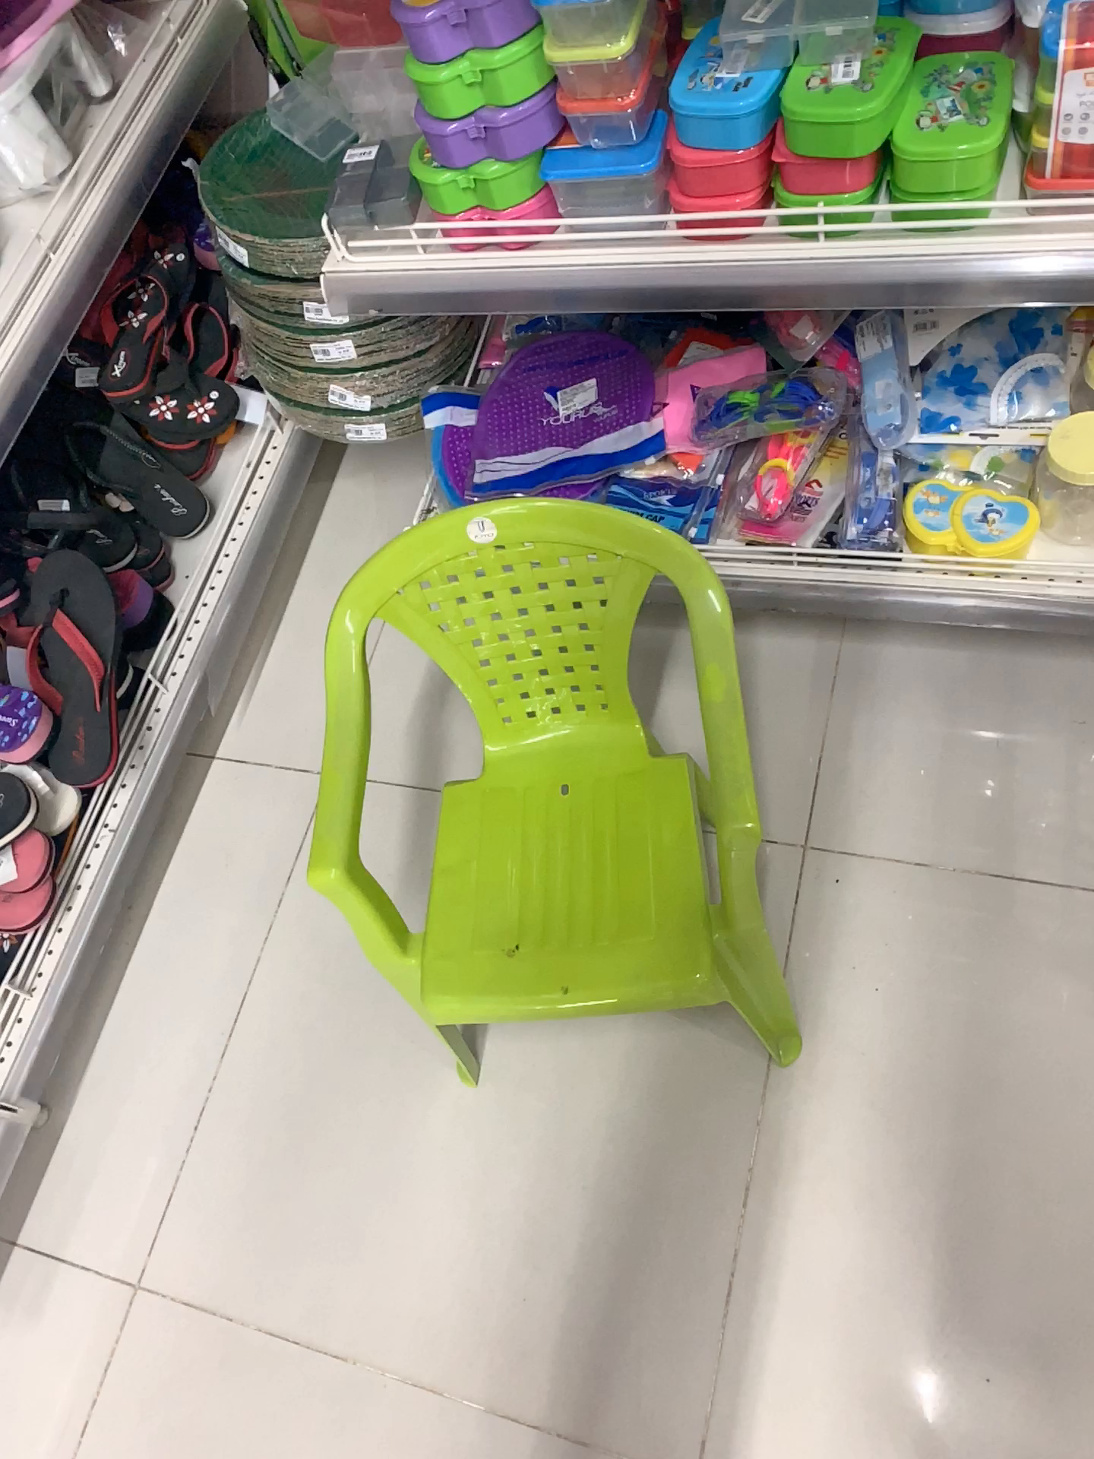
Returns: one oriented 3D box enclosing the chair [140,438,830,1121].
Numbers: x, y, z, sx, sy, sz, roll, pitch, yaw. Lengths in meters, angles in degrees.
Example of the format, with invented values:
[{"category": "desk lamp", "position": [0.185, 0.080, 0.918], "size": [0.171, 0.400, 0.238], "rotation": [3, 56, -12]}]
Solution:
[{"category": "chair", "position": [0.004, 0.090, 0.914], "size": [0.391, 0.469, 0.360], "rotation": [-6, 61, 13]}]
